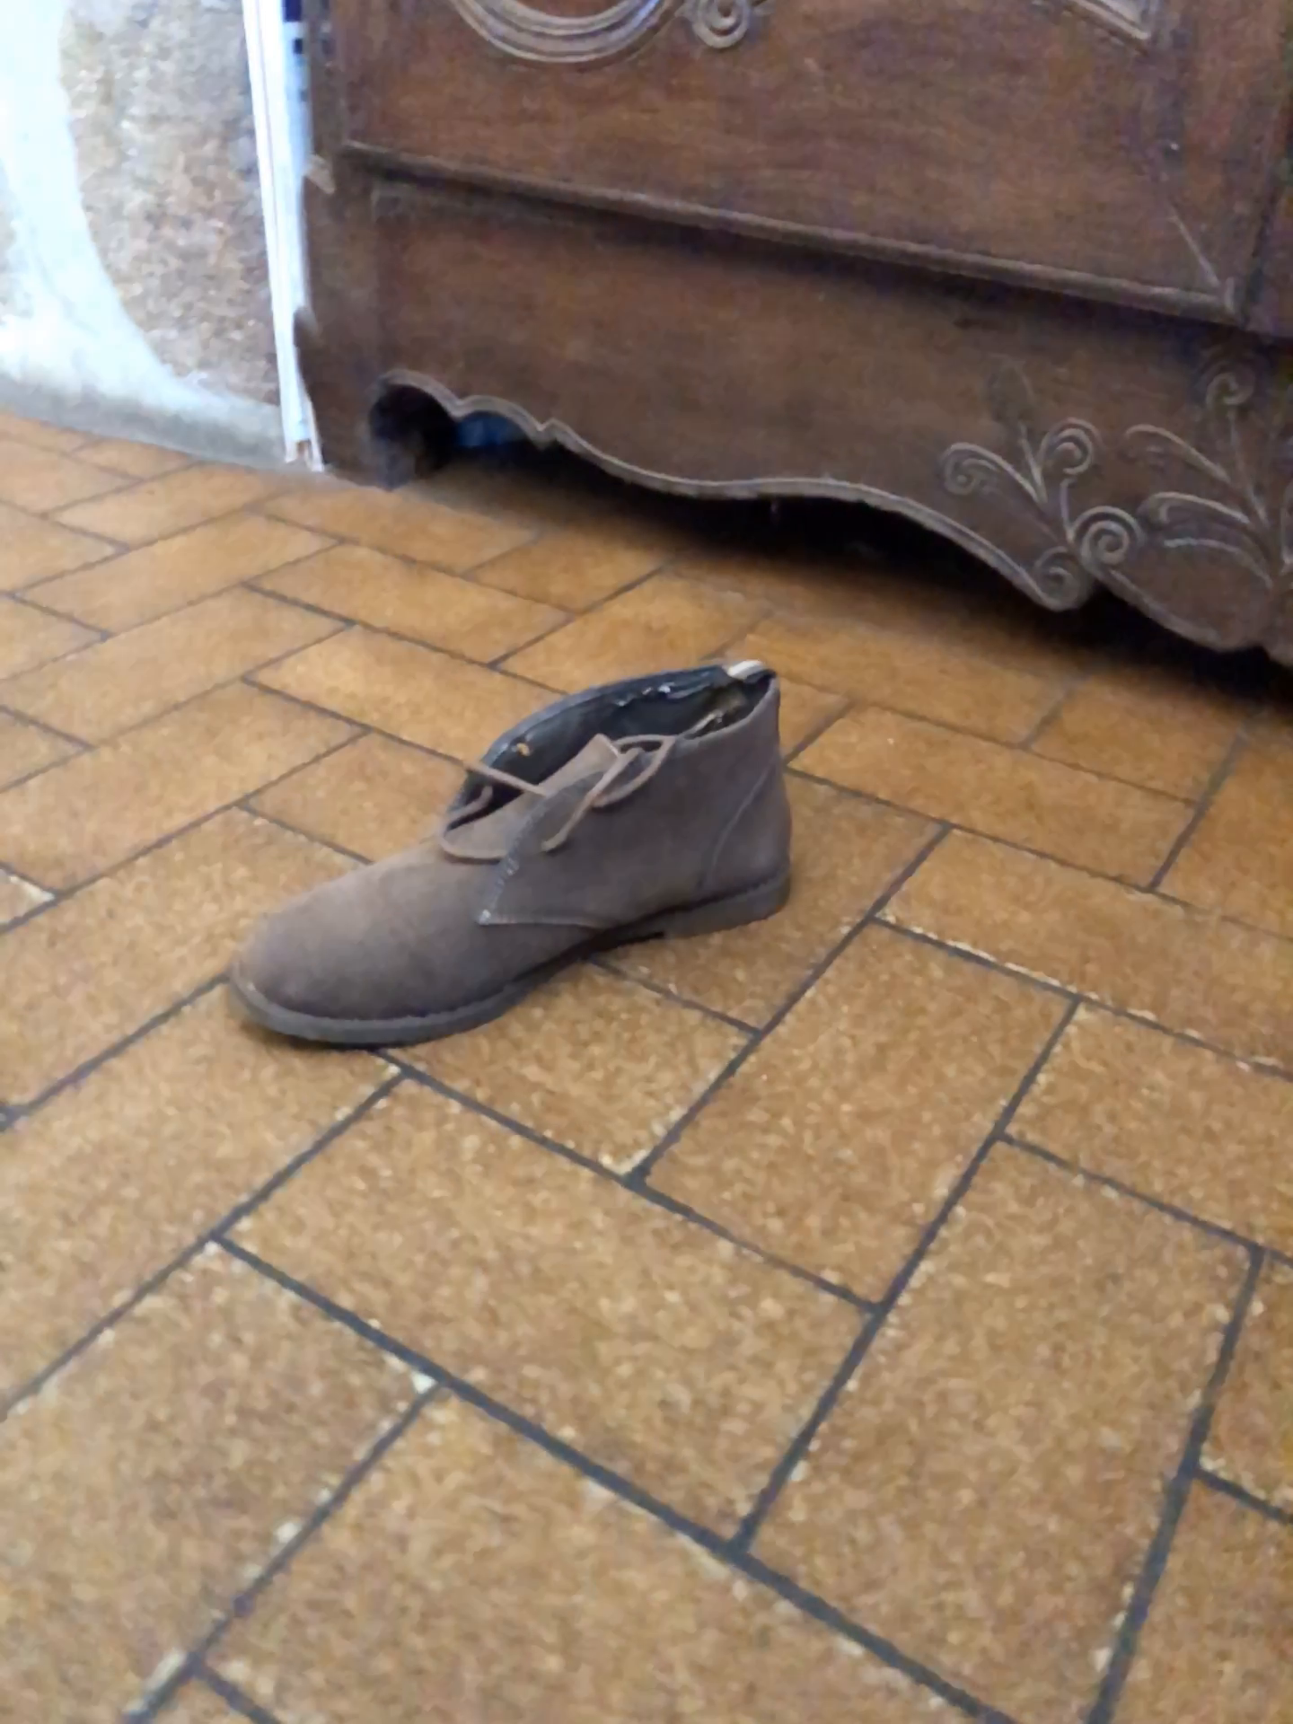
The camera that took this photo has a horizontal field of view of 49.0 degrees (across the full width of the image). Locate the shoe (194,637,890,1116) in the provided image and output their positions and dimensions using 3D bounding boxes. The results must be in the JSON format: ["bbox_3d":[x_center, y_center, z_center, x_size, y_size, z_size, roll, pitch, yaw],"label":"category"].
[{"bbox_3d":[-0.038,-0.005,0.576,0.251,0.099,0.100,-15,38,-26],"label":"shoe"}]
